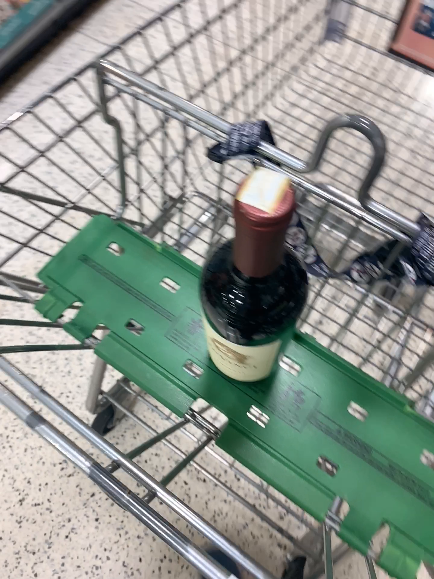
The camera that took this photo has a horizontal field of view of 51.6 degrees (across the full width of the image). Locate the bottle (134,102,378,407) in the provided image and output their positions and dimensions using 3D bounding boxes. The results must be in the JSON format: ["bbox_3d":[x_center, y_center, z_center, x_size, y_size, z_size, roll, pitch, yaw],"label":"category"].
[{"bbox_3d":[0.023,0.009,0.326,0.080,0.269,0.080,-1,67,2],"label":"bottle"}]
